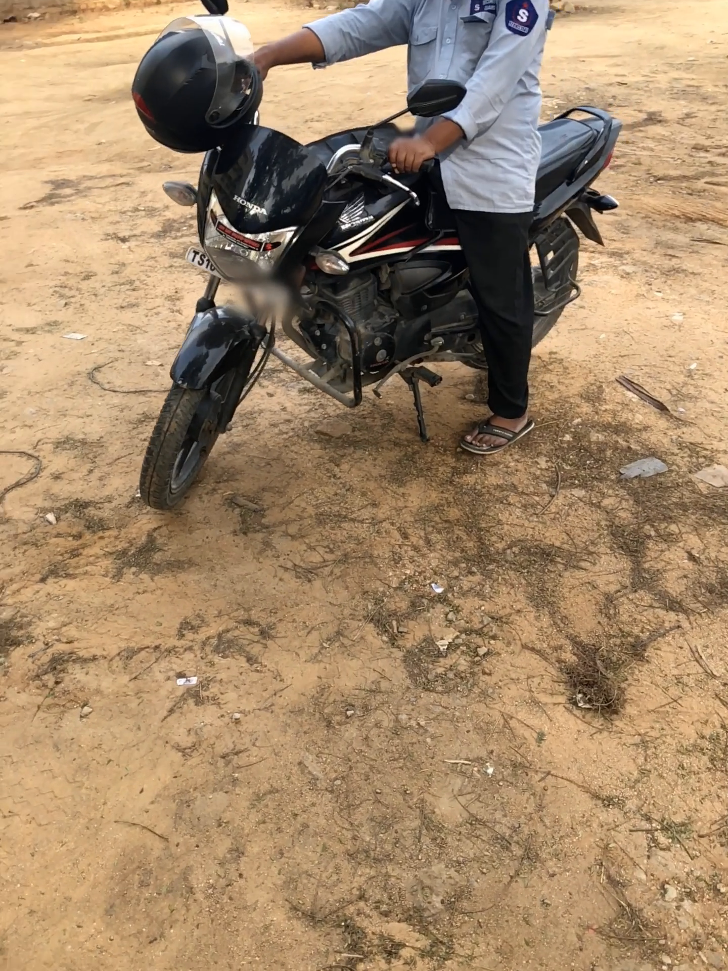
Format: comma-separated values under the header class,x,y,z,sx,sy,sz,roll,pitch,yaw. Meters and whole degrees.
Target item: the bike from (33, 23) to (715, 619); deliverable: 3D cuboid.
class,x,y,z,sx,sy,sz,roll,pitch,yaw
bike,0.094,-0.557,2.192,1.568,0.913,0.670,-29,41,-25
